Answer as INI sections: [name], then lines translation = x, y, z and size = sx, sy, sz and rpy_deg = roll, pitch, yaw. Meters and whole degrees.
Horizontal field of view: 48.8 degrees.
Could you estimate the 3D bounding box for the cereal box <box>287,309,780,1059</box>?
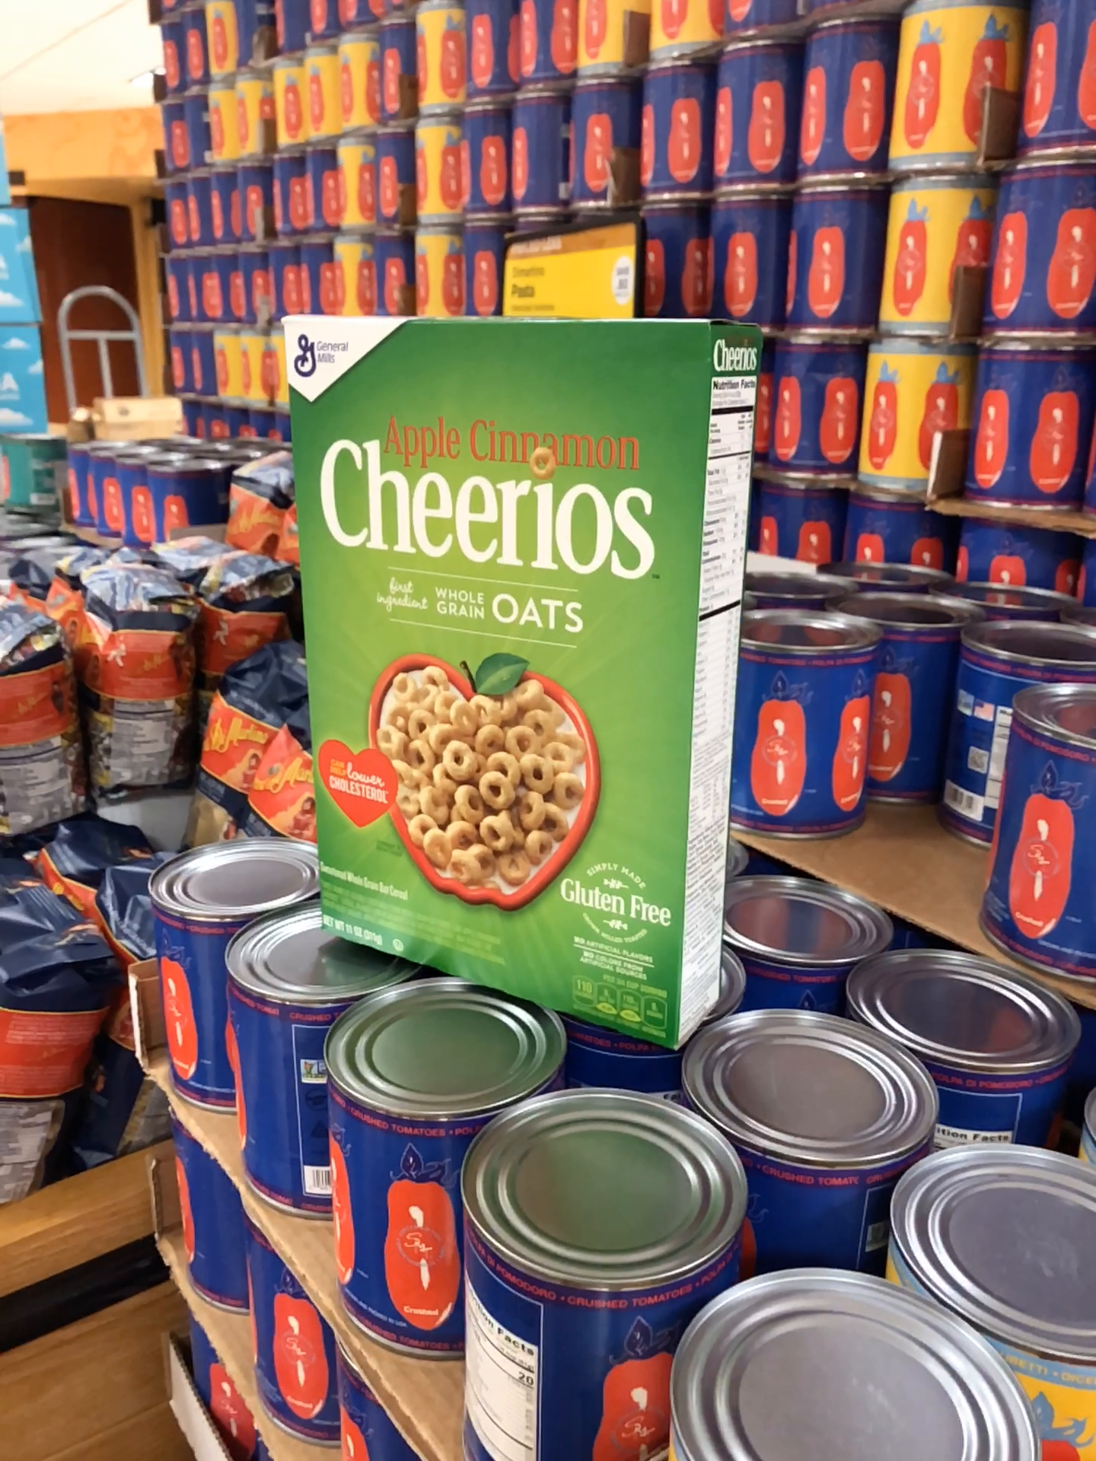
[cereal box]
translation = -0.013, -0.028, 0.520
size = 0.200, 0.288, 0.050
rpy_deg = 11, 20, 31
